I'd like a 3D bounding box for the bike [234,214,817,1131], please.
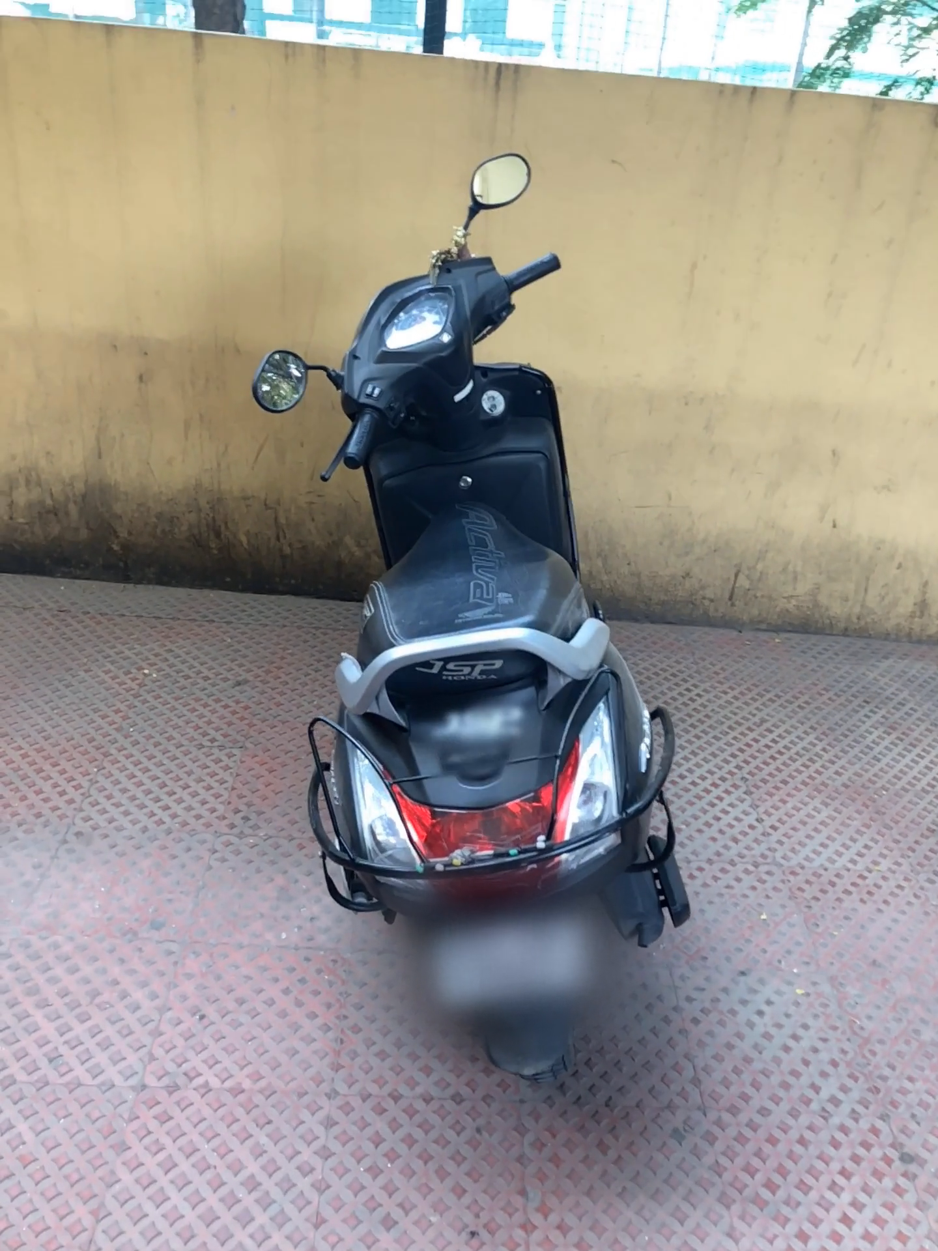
[{"bbox_3d":[-0.063,-0.112,1.957,0.593,1.045,1.592,1,28,-8],"label":"bike"}]
